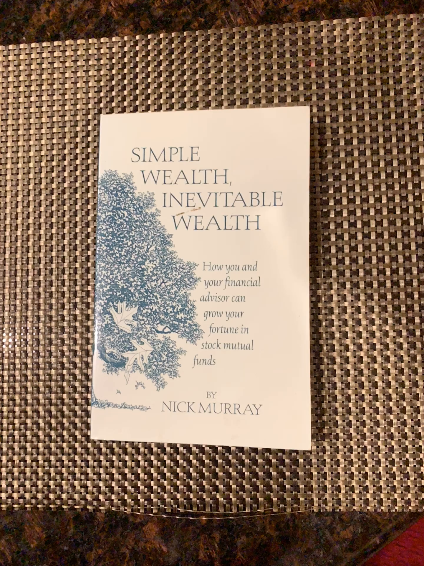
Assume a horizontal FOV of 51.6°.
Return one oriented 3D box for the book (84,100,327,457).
[{"bbox_3d":[-0.004,-0.006,0.278,0.141,0.021,0.210,2,87,8],"label":"book"}]
